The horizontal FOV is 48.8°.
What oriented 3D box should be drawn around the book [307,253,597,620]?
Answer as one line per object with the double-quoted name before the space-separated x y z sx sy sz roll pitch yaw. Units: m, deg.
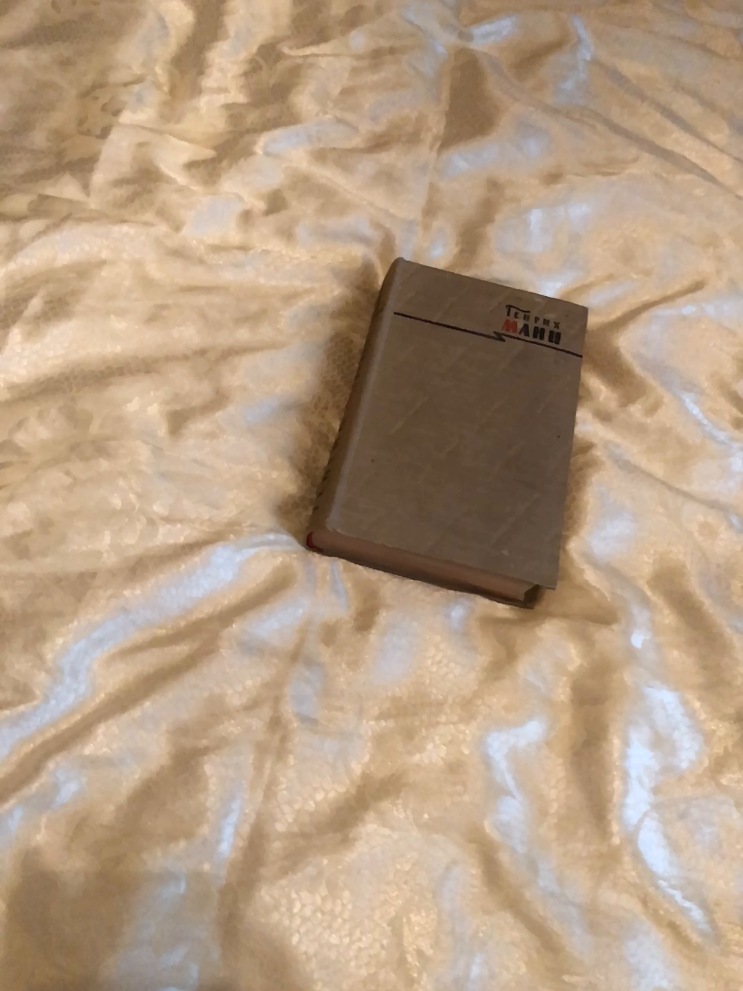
"book" 0.056 -0.043 0.518 0.142 0.051 0.208 14 61 0
